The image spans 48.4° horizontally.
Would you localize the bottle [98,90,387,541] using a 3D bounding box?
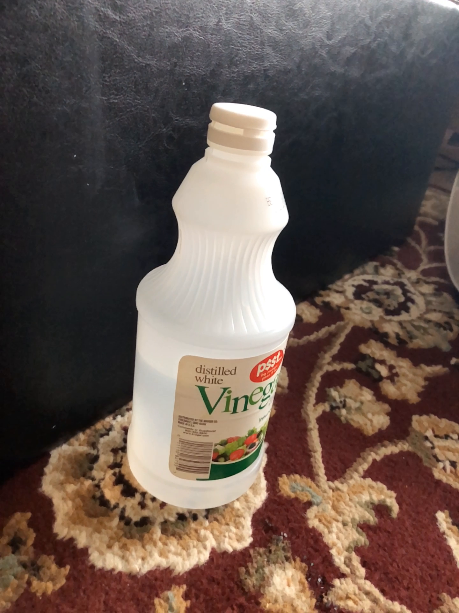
[{"bbox_3d":[-0.007,0.004,0.291,0.100,0.219,0.090,-18,39,-39],"label":"bottle"}]
